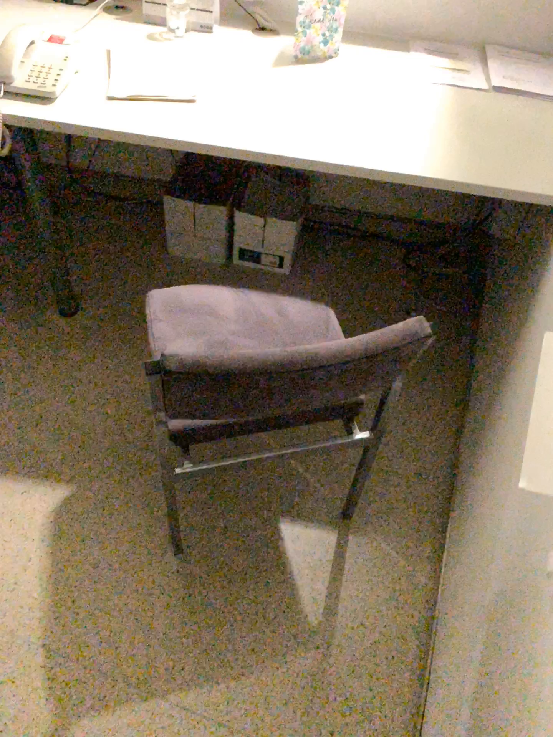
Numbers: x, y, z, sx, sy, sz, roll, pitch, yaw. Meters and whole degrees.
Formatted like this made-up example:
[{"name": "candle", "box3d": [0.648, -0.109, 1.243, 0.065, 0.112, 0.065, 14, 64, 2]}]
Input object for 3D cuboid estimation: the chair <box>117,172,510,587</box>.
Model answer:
[{"name": "chair", "box3d": [-0.005, 0.028, 1.236, 0.570, 0.664, 0.555, -6, 50, -12]}]
